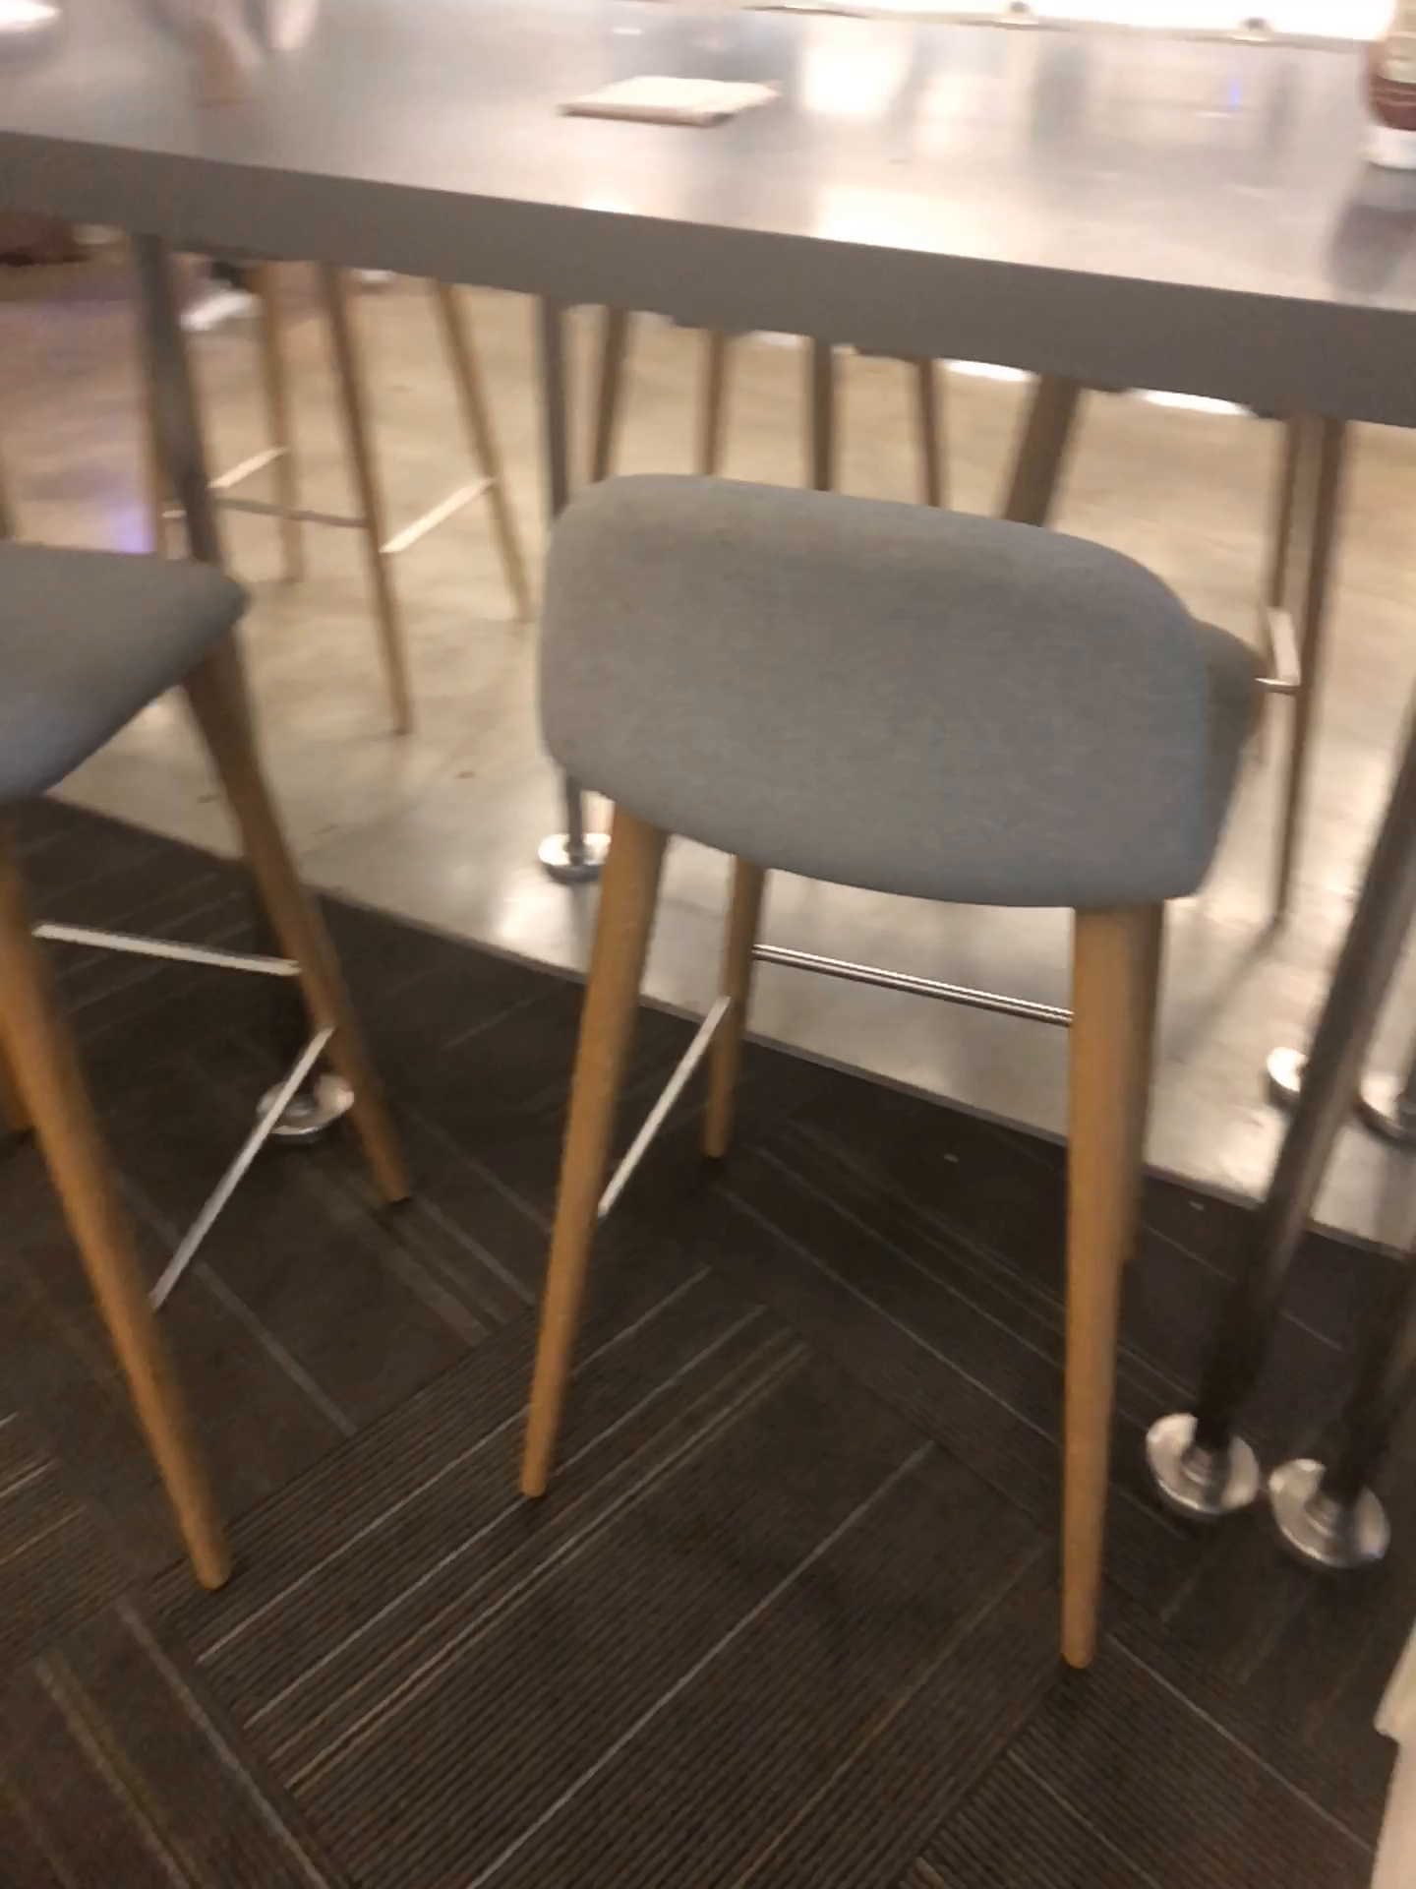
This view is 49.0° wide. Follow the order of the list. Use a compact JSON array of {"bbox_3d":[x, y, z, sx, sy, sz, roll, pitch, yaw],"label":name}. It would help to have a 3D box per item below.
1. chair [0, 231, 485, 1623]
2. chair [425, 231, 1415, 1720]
[{"bbox_3d":[-0.591,-0.013,1.305,0.570,0.942,0.545,10,37,12],"label":"chair"},{"bbox_3d":[0.183,0.037,1.306,0.540,1.031,0.545,13,38,16],"label":"chair"}]
